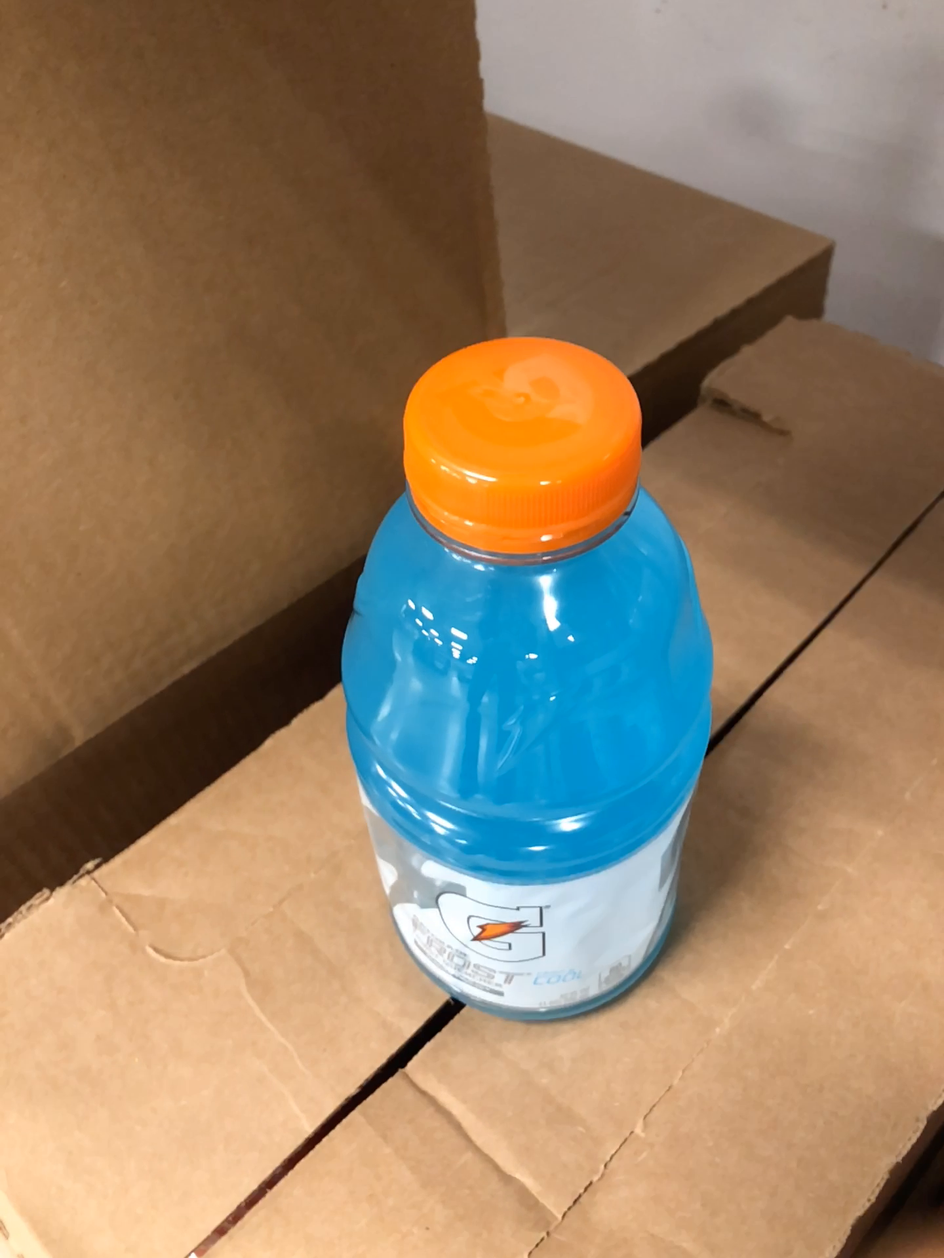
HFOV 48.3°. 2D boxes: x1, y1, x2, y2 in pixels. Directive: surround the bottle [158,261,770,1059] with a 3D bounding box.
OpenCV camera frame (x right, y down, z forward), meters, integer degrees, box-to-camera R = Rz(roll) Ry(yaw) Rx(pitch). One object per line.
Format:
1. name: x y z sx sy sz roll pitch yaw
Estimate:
1. bottle: 0.012 0.021 0.278 0.100 0.200 0.090 7 49 13
